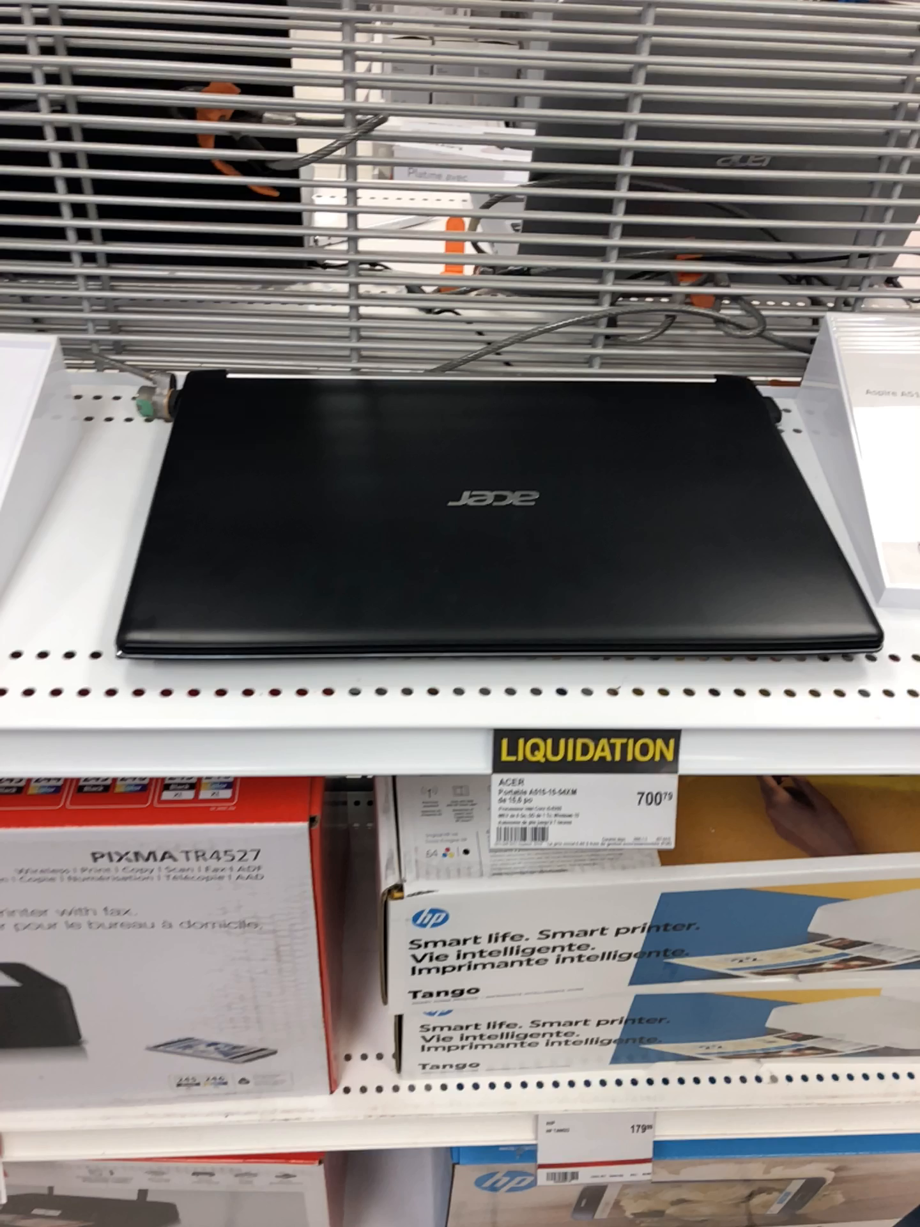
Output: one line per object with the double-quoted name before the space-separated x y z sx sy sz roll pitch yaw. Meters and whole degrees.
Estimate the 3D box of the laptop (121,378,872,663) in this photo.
"laptop" 0.018 -0.064 0.566 0.361 0.012 0.228 0 45 -5
